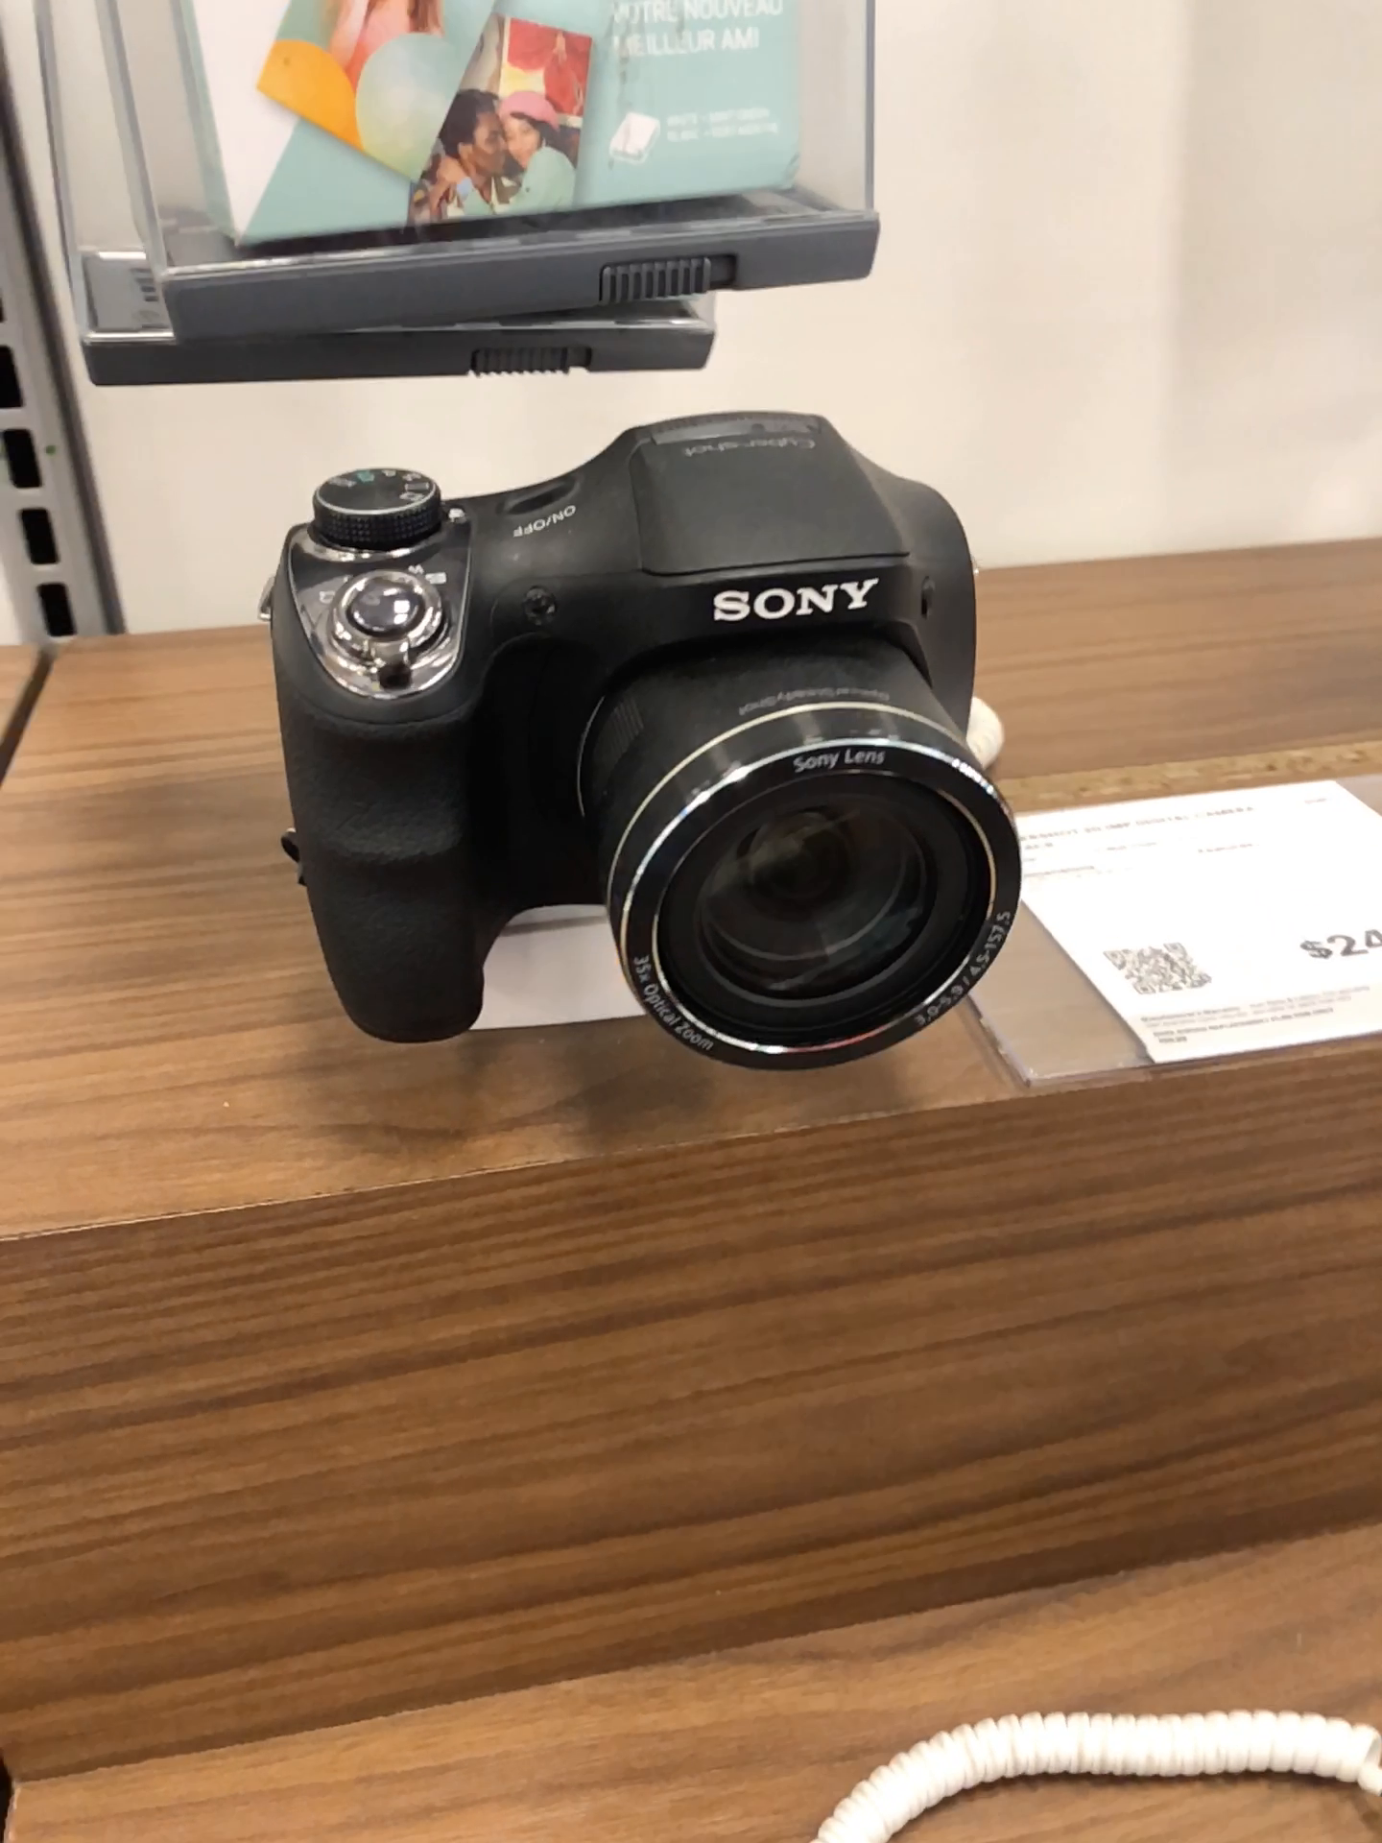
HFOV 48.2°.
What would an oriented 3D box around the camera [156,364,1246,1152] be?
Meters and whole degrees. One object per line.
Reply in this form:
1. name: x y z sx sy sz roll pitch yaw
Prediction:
1. camera: -0.006 -0.039 0.265 0.140 0.080 0.121 -7 30 -9
